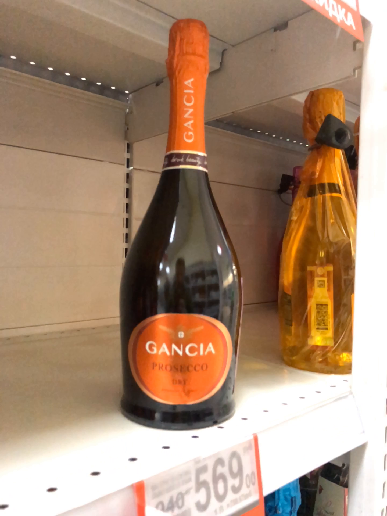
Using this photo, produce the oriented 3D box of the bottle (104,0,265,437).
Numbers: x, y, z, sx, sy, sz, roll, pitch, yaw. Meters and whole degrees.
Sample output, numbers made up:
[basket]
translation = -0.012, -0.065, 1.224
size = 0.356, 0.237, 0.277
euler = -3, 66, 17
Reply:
[bottle]
translation = -0.009, -0.036, 0.336
size = 0.100, 0.310, 0.100
euler = 2, 0, 0
